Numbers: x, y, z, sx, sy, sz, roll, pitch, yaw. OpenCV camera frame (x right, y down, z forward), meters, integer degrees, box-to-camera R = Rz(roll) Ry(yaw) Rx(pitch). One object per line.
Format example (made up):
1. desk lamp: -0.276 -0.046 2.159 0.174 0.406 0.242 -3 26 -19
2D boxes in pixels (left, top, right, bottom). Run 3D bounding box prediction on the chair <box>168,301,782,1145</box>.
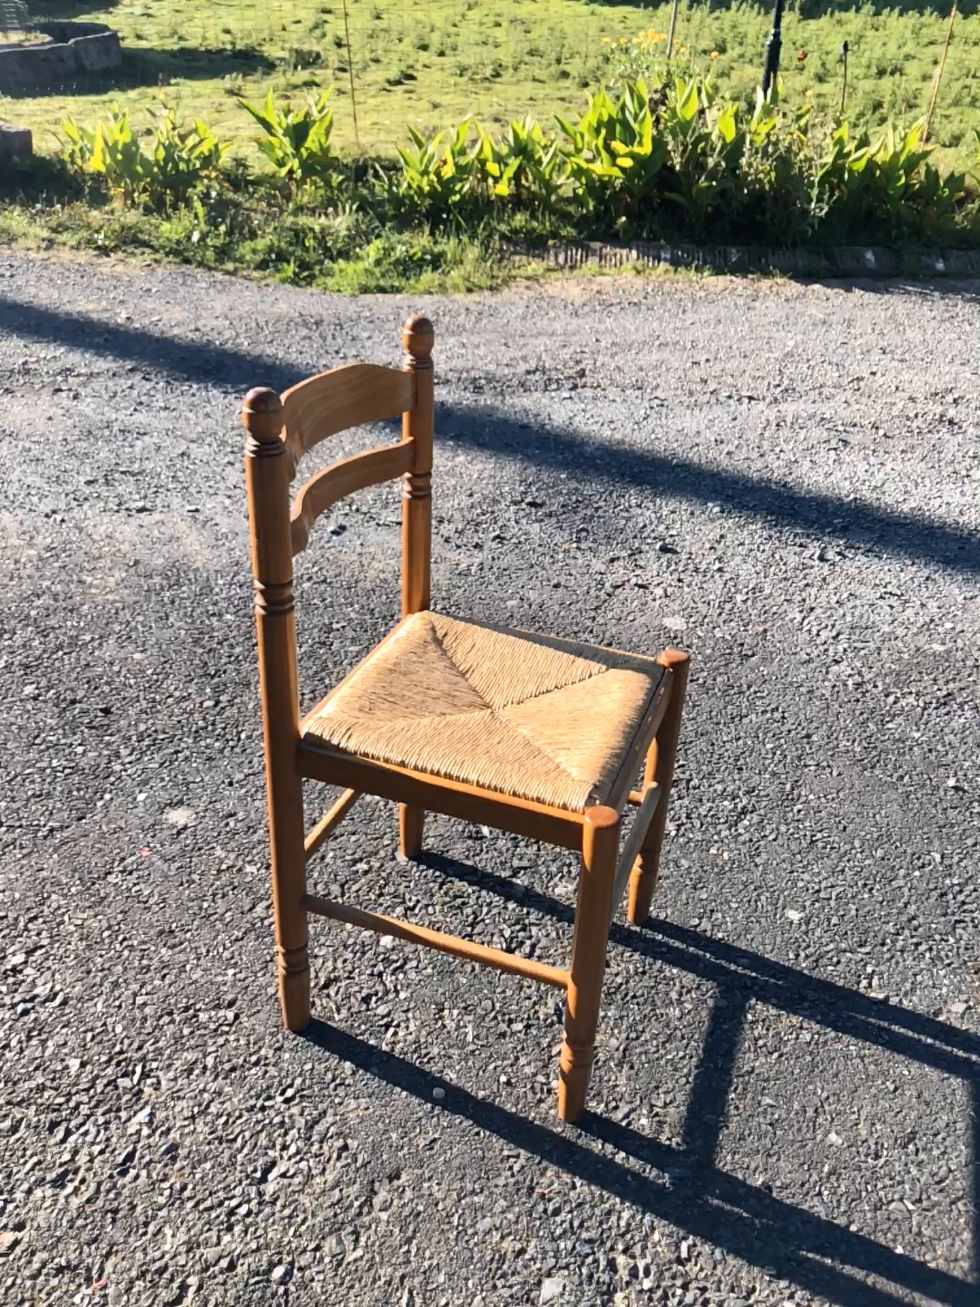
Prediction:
1. chair: 0.018 0.051 1.296 0.490 0.795 0.493 11 30 17
